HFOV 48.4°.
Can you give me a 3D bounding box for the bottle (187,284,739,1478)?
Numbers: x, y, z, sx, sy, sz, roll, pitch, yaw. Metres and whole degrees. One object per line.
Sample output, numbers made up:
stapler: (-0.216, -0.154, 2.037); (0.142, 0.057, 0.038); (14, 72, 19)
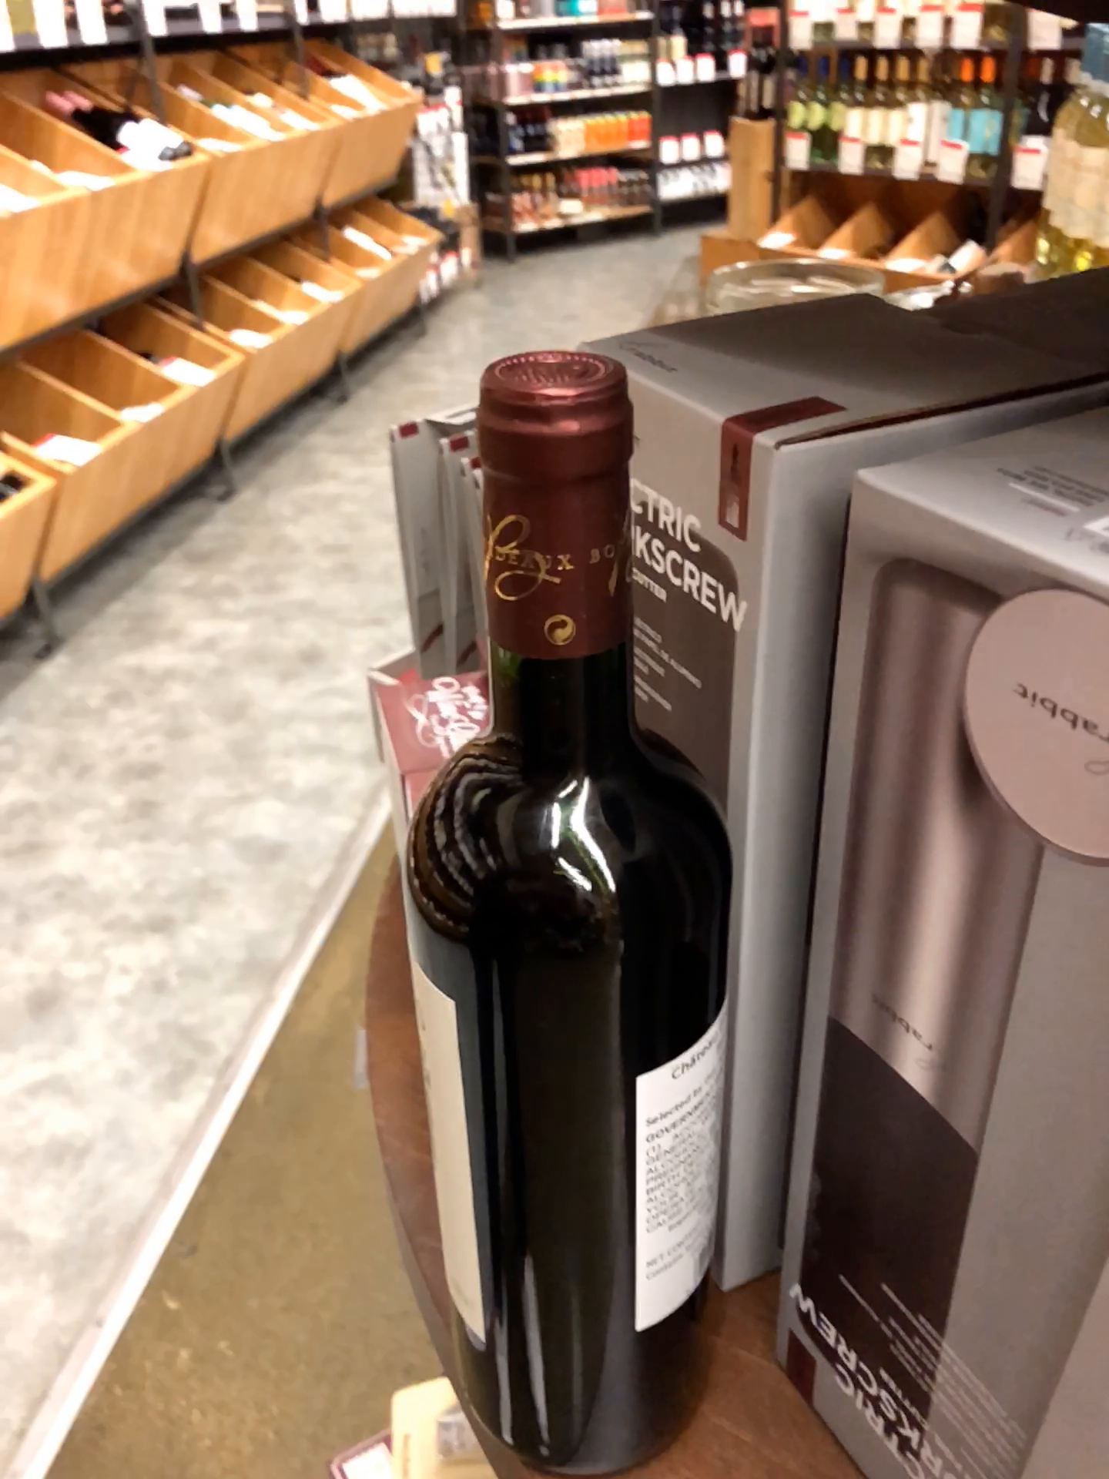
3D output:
bottle: (-0.003, 0.056, 0.296); (0.080, 0.299, 0.080); (-2, 30, 1)
